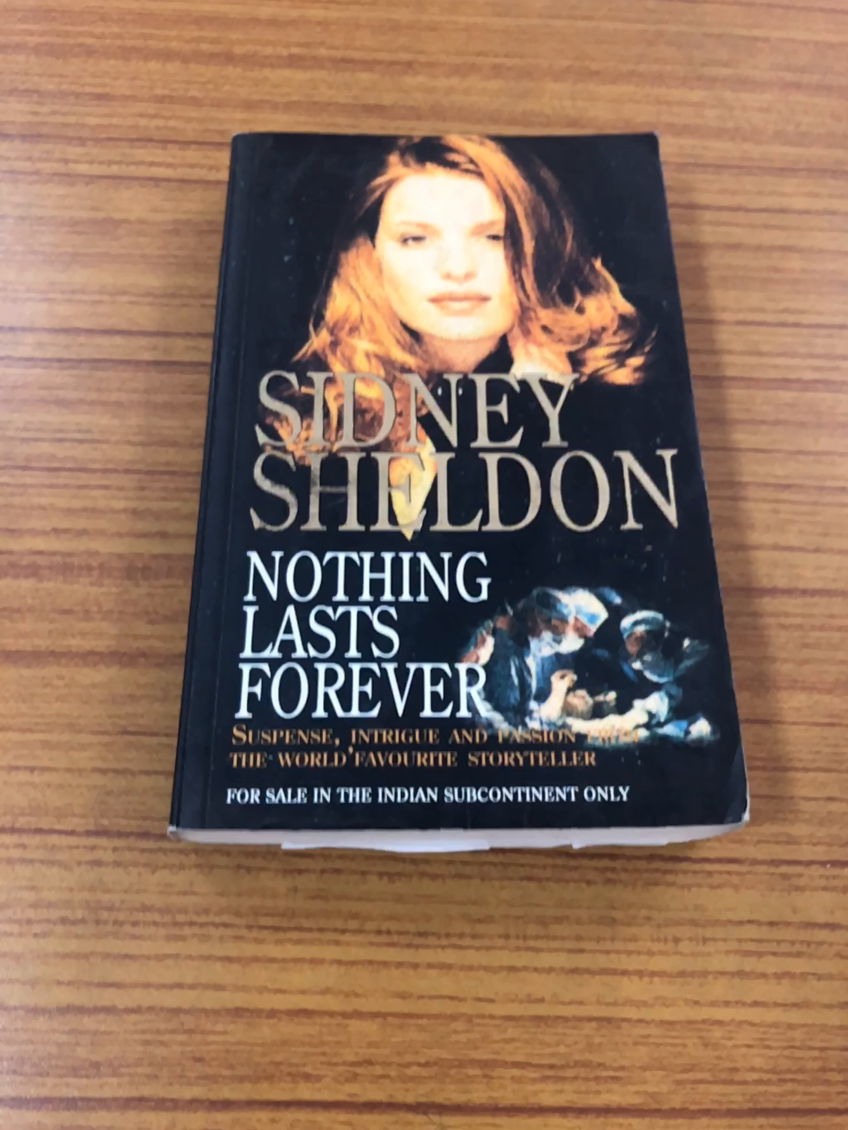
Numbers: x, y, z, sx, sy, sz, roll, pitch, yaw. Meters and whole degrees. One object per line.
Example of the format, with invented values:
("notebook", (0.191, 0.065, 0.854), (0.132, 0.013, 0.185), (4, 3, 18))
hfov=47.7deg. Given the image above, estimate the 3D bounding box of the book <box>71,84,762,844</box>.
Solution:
("book", (-0.002, -0.029, 0.211), (0.120, 0.030, 0.170), (0, 69, -2))
